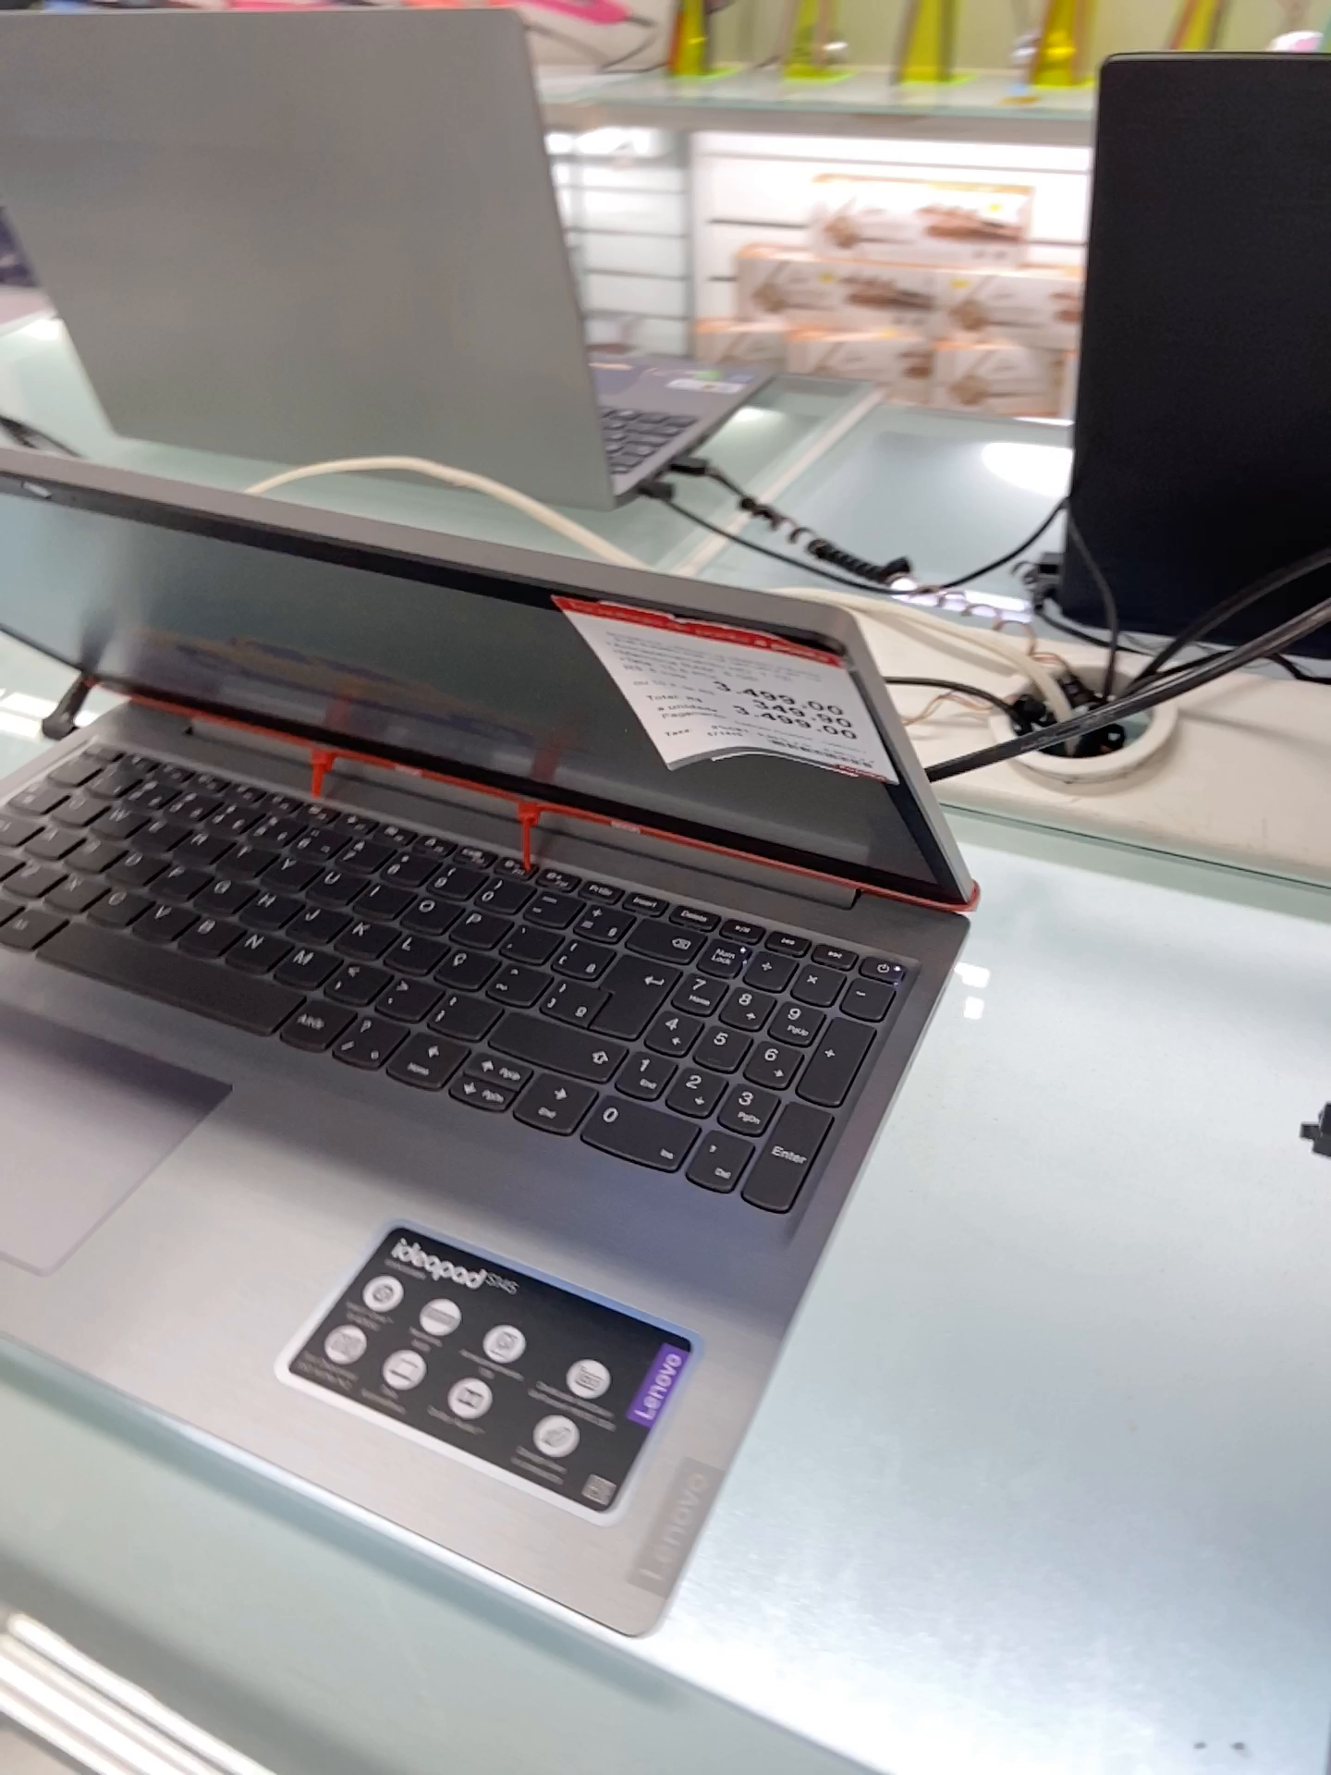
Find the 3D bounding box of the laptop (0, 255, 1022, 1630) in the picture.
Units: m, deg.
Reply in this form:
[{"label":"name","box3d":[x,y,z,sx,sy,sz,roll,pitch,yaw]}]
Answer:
[{"label":"laptop","box3d":[-0.120,-0.036,0.374,0.360,0.175,0.245,14,40,21]}]
